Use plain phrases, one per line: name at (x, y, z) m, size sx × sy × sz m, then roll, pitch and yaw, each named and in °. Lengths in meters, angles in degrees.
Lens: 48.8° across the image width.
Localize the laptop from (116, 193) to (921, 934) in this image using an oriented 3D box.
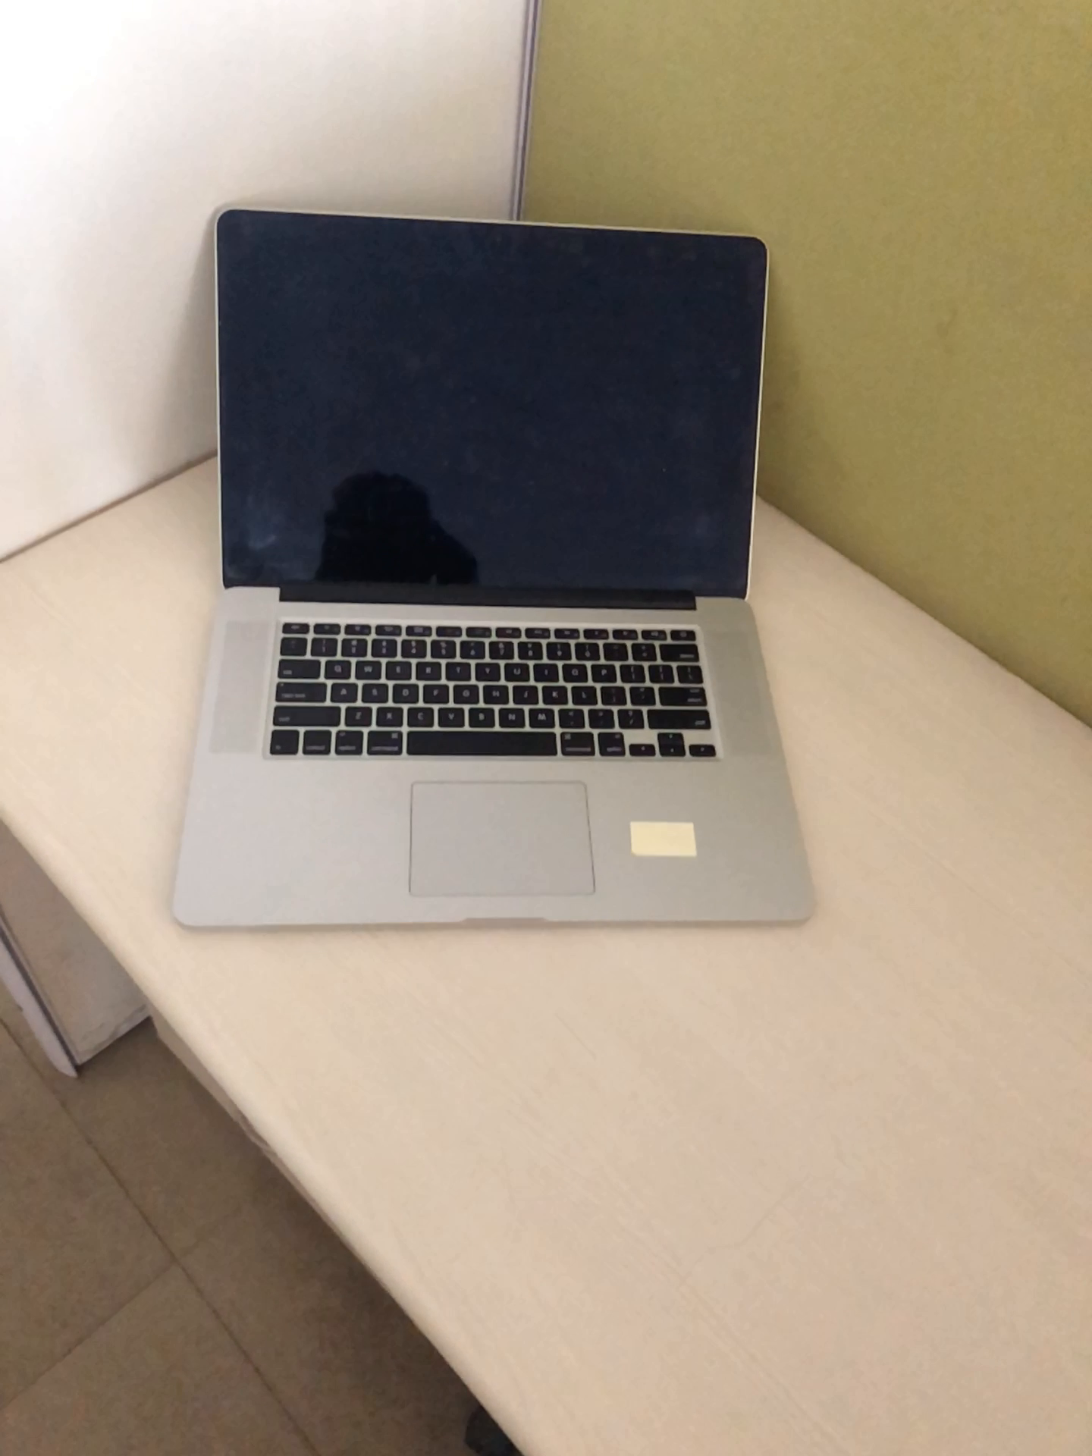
laptop at (-0.026, -0.104, 0.694) m, size 0.345 × 0.163 × 0.405 m, roll 1°, pitch 55°, yaw -7°
